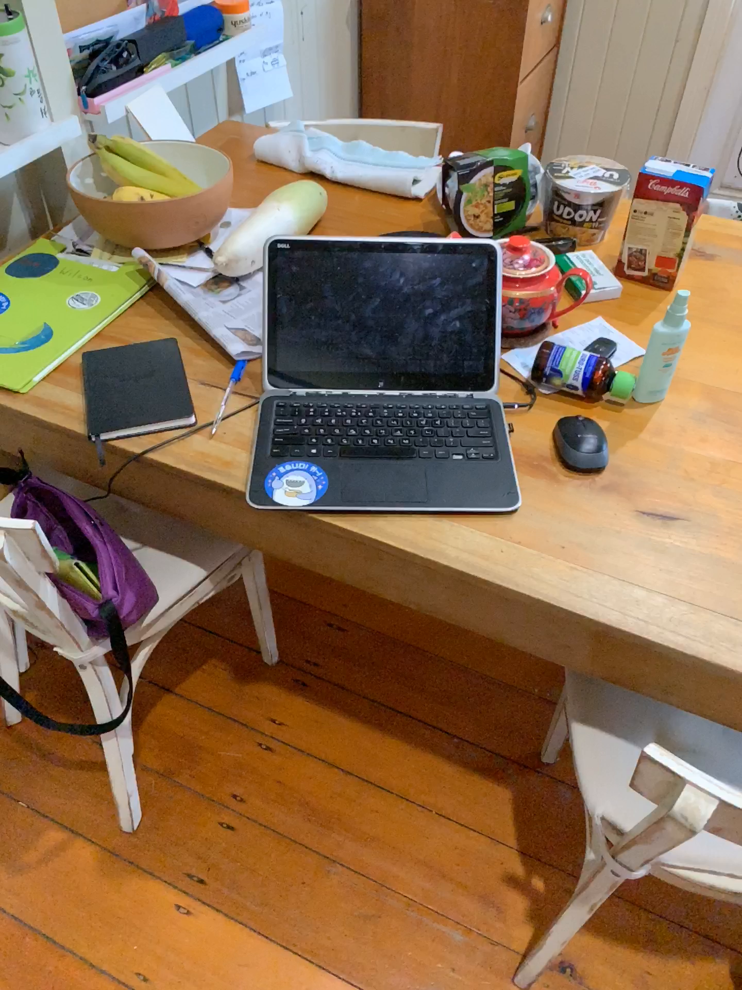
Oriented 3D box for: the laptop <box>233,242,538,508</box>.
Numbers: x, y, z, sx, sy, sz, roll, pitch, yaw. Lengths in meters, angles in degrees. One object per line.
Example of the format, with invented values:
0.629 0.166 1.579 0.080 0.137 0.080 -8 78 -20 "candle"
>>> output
0.015 -0.158 0.920 0.303 0.139 0.341 0 46 -1 "laptop"
